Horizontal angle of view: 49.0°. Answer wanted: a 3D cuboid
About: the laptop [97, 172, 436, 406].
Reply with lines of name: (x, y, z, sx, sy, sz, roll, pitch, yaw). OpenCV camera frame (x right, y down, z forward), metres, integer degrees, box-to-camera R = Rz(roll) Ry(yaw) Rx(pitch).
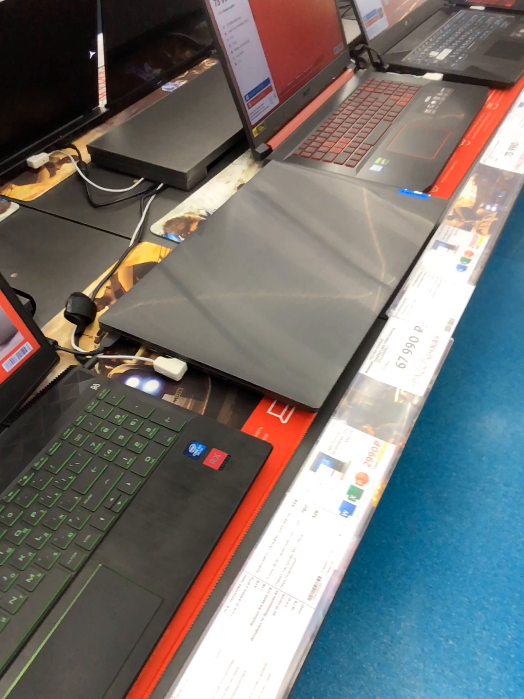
laptop: (0.027, -0.110, 0.719, 0.269, 0.002, 0.390, 19, 49, 21)
